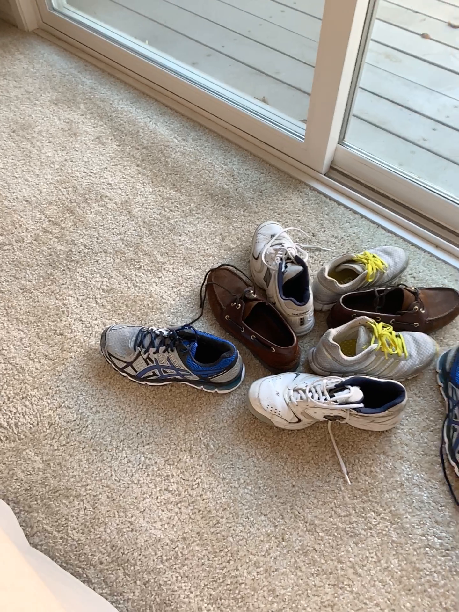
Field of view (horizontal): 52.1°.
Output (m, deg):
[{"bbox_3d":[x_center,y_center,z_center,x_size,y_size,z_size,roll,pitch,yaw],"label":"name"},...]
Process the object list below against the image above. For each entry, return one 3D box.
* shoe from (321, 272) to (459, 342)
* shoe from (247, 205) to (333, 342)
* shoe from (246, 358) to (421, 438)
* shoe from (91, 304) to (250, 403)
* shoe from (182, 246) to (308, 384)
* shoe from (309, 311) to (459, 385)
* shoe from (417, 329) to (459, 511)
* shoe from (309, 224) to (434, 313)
[{"bbox_3d":[0.339,0.003,0.952,0.280,0.080,0.100,-3,56,-3],"label":"shoe"},{"bbox_3d":[0.118,-0.074,0.999,0.100,0.110,0.271,-10,56,-6],"label":"shoe"},{"bbox_3d":[0.172,0.164,0.833,0.280,0.110,0.090,2,57,3],"label":"shoe"},{"bbox_3d":[-0.104,0.088,0.892,0.270,0.090,0.110,10,57,8],"label":"shoe"},{"bbox_3d":[0.026,0.014,0.982,0.100,0.110,0.271,-34,61,-20],"label":"shoe"},{"bbox_3d":[0.273,0.076,0.844,0.240,0.090,0.100,0,56,-1],"label":"shoe"},{"bbox_3d":[0.438,0.196,0.831,0.110,0.110,0.291,-1,58,0],"label":"shoe"},{"bbox_3d":[0.296,-0.082,0.987,0.230,0.060,0.100,-22,59,-15],"label":"shoe"}]
